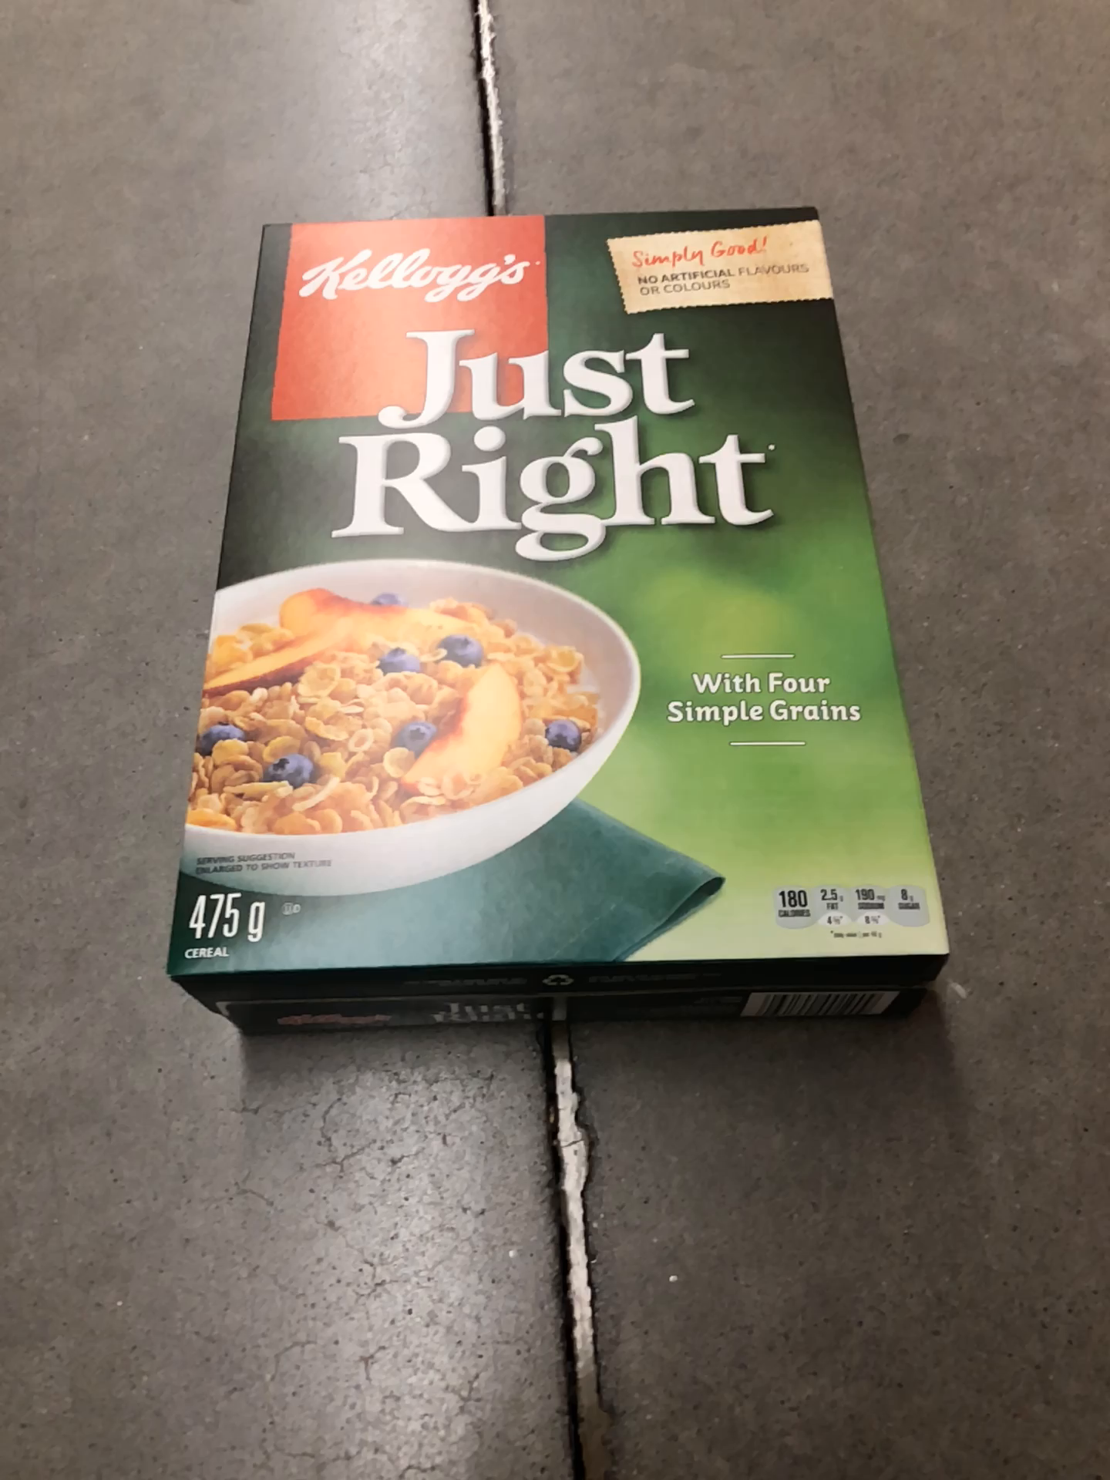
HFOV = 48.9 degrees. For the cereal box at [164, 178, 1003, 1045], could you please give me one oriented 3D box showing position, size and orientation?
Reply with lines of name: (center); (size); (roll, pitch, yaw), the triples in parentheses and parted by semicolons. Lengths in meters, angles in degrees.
cereal box: (0.003, -0.057, 0.401); (0.210, 0.060, 0.291); (-2, 62, 1)
